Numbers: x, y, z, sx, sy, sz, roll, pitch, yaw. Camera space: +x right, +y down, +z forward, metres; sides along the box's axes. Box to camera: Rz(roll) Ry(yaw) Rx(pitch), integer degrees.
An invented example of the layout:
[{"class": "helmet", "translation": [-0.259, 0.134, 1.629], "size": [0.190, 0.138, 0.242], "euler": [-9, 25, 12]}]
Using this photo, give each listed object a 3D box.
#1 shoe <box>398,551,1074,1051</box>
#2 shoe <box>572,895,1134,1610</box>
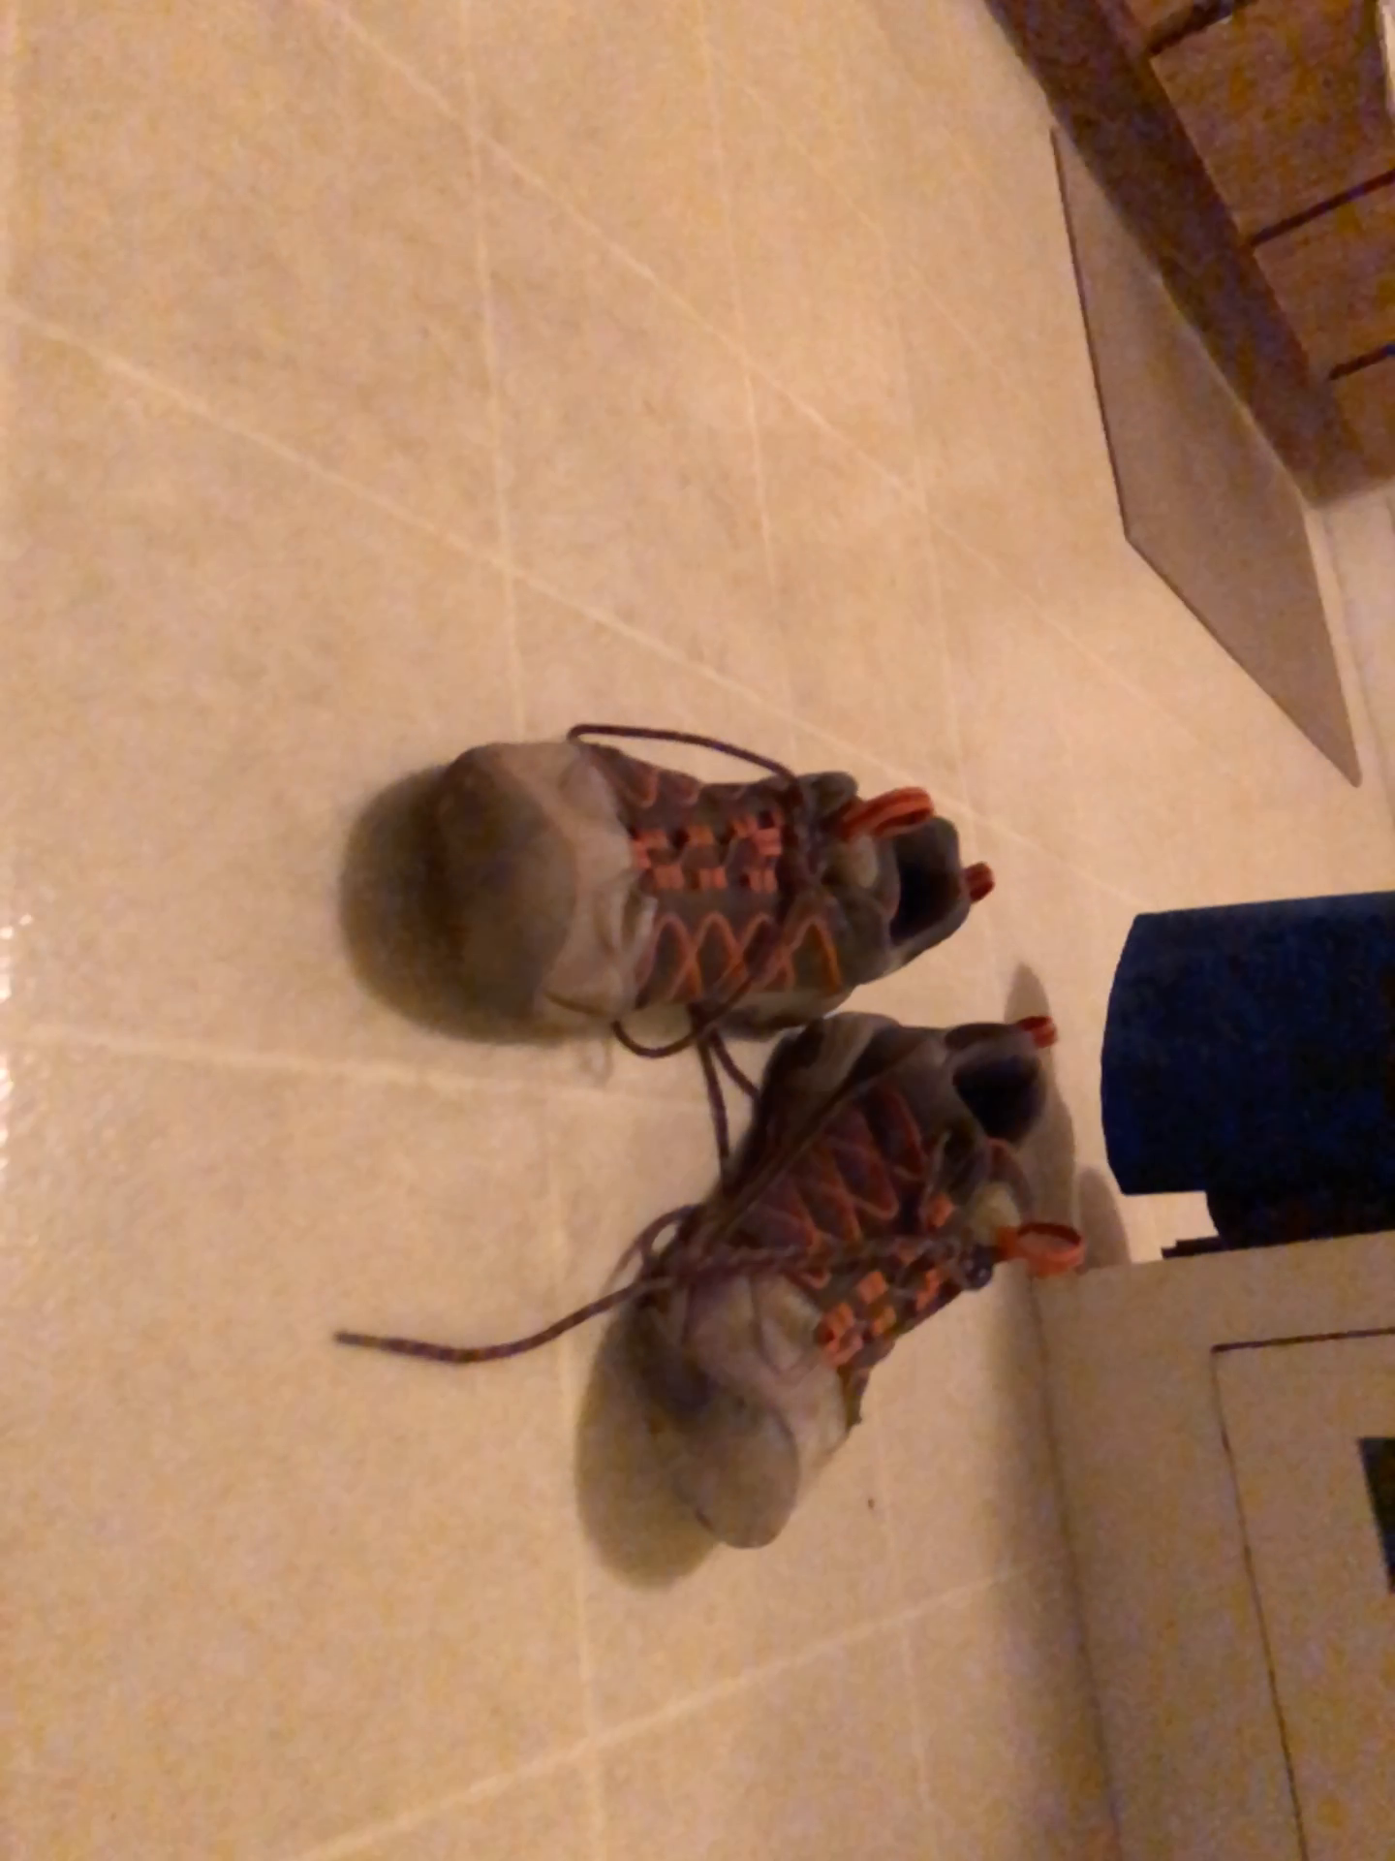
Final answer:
[{"class": "shoe", "translation": [0.032, -0.031, 0.630], "size": [0.294, 0.121, 0.127], "euler": [11, 67, -54]}, {"class": "shoe", "translation": [0.085, 0.124, 0.650], "size": [0.127, 0.121, 0.283], "euler": [60, 35, -20]}]
